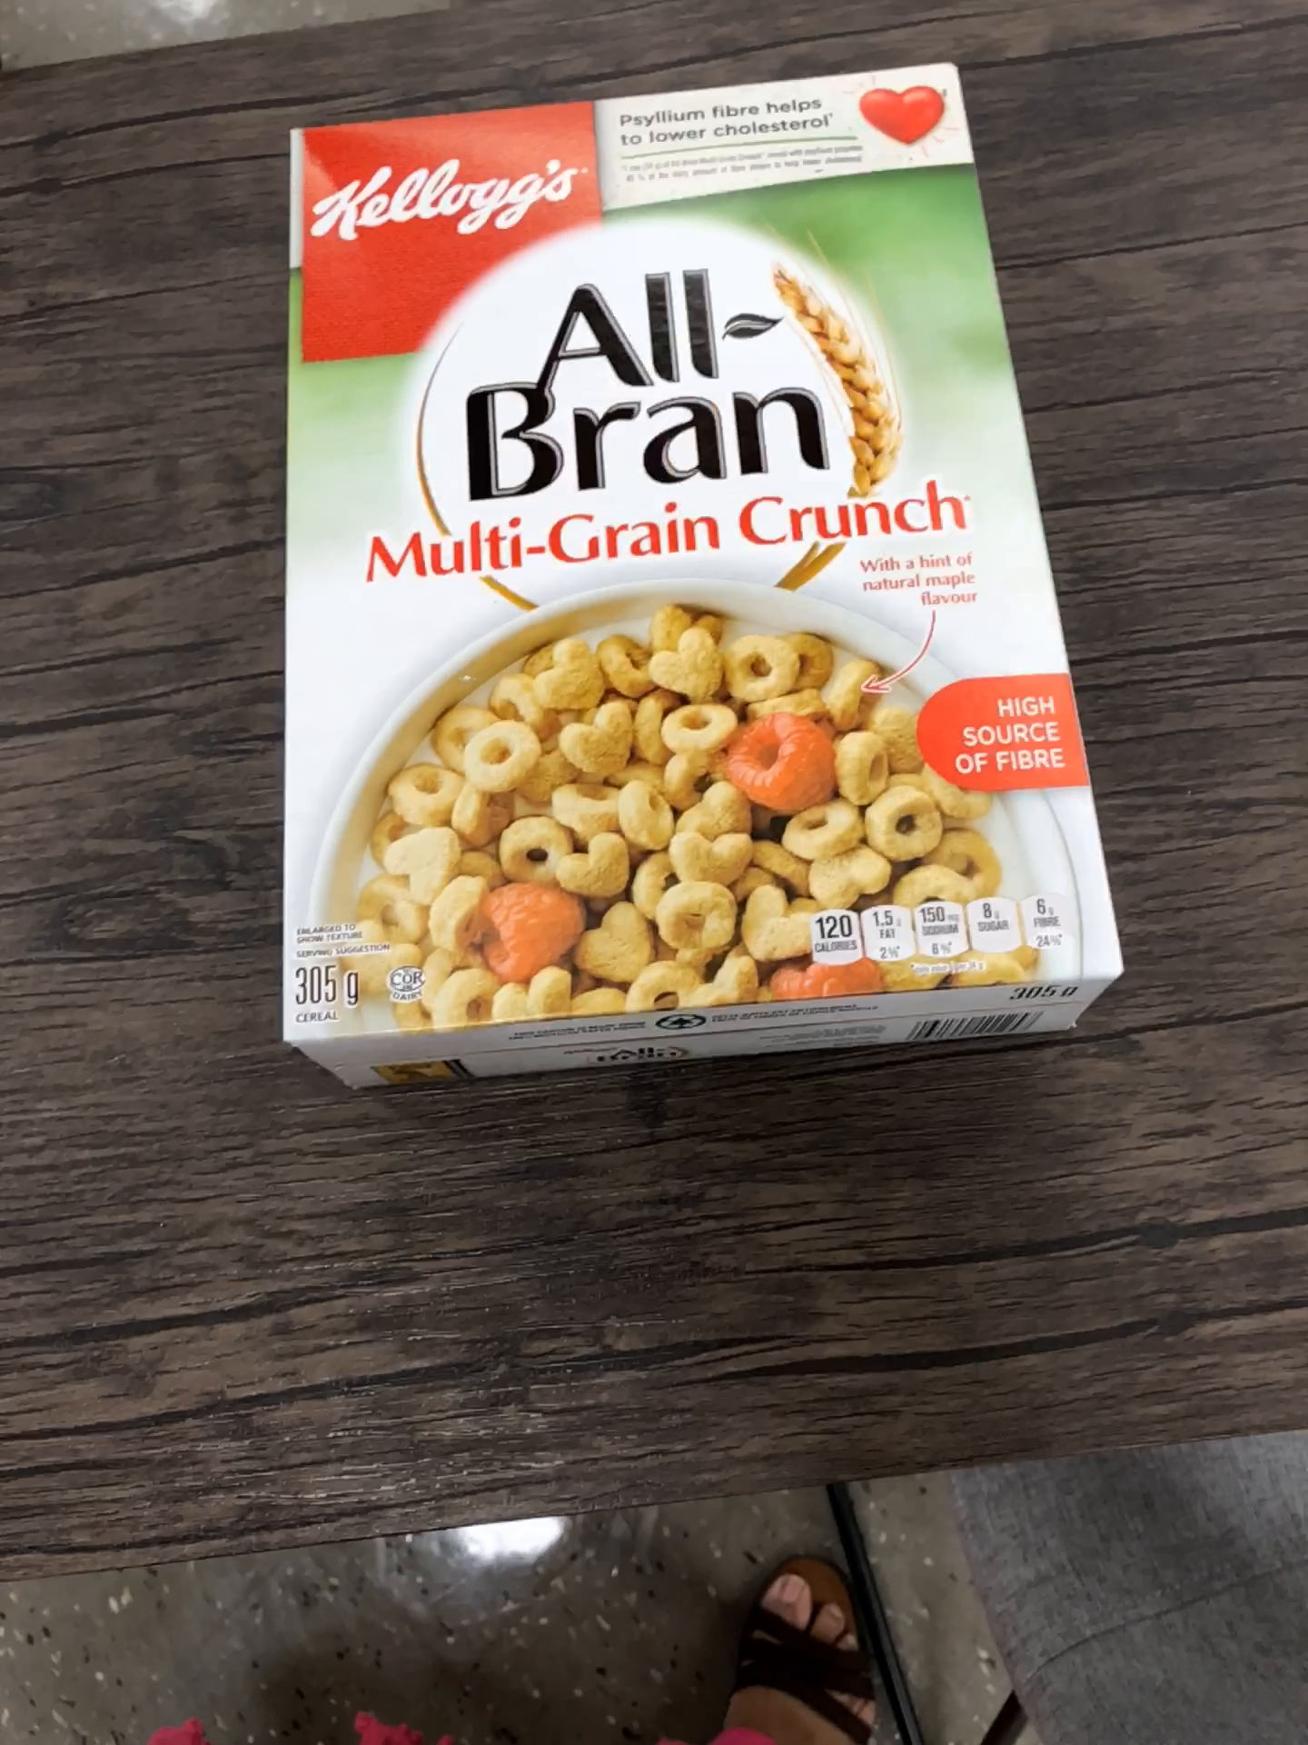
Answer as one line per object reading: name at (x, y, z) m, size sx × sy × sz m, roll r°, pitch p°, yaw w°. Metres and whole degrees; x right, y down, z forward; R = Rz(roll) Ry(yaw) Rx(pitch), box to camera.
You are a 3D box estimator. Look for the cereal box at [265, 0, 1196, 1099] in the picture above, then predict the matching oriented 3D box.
cereal box at (0.008, -0.099, 0.414) m, size 0.210 × 0.070 × 0.300 m, roll -5°, pitch 69°, yaw 1°
